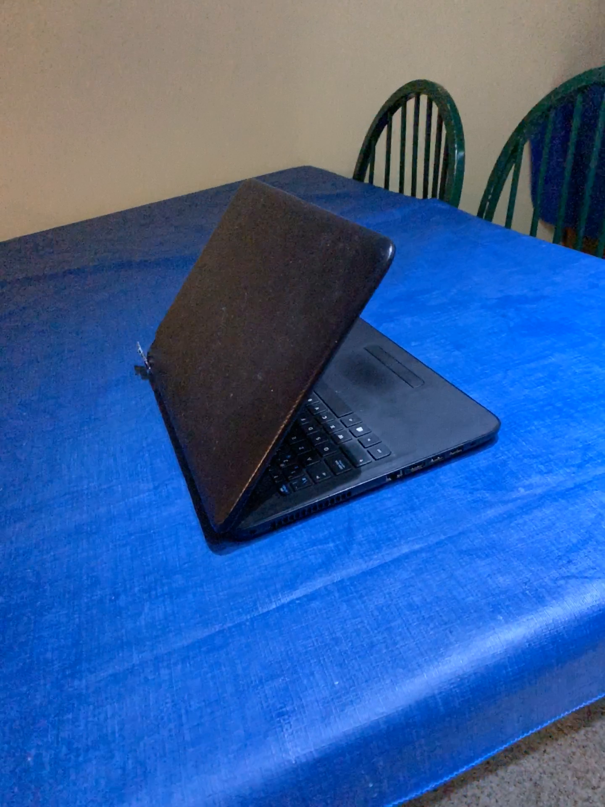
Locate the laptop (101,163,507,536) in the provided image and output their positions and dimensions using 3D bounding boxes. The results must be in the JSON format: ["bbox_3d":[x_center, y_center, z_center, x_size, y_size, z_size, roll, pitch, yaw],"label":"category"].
[{"bbox_3d":[-0.026,-0.095,0.594,0.252,0.167,0.373,-19,31,-13],"label":"laptop"}]
